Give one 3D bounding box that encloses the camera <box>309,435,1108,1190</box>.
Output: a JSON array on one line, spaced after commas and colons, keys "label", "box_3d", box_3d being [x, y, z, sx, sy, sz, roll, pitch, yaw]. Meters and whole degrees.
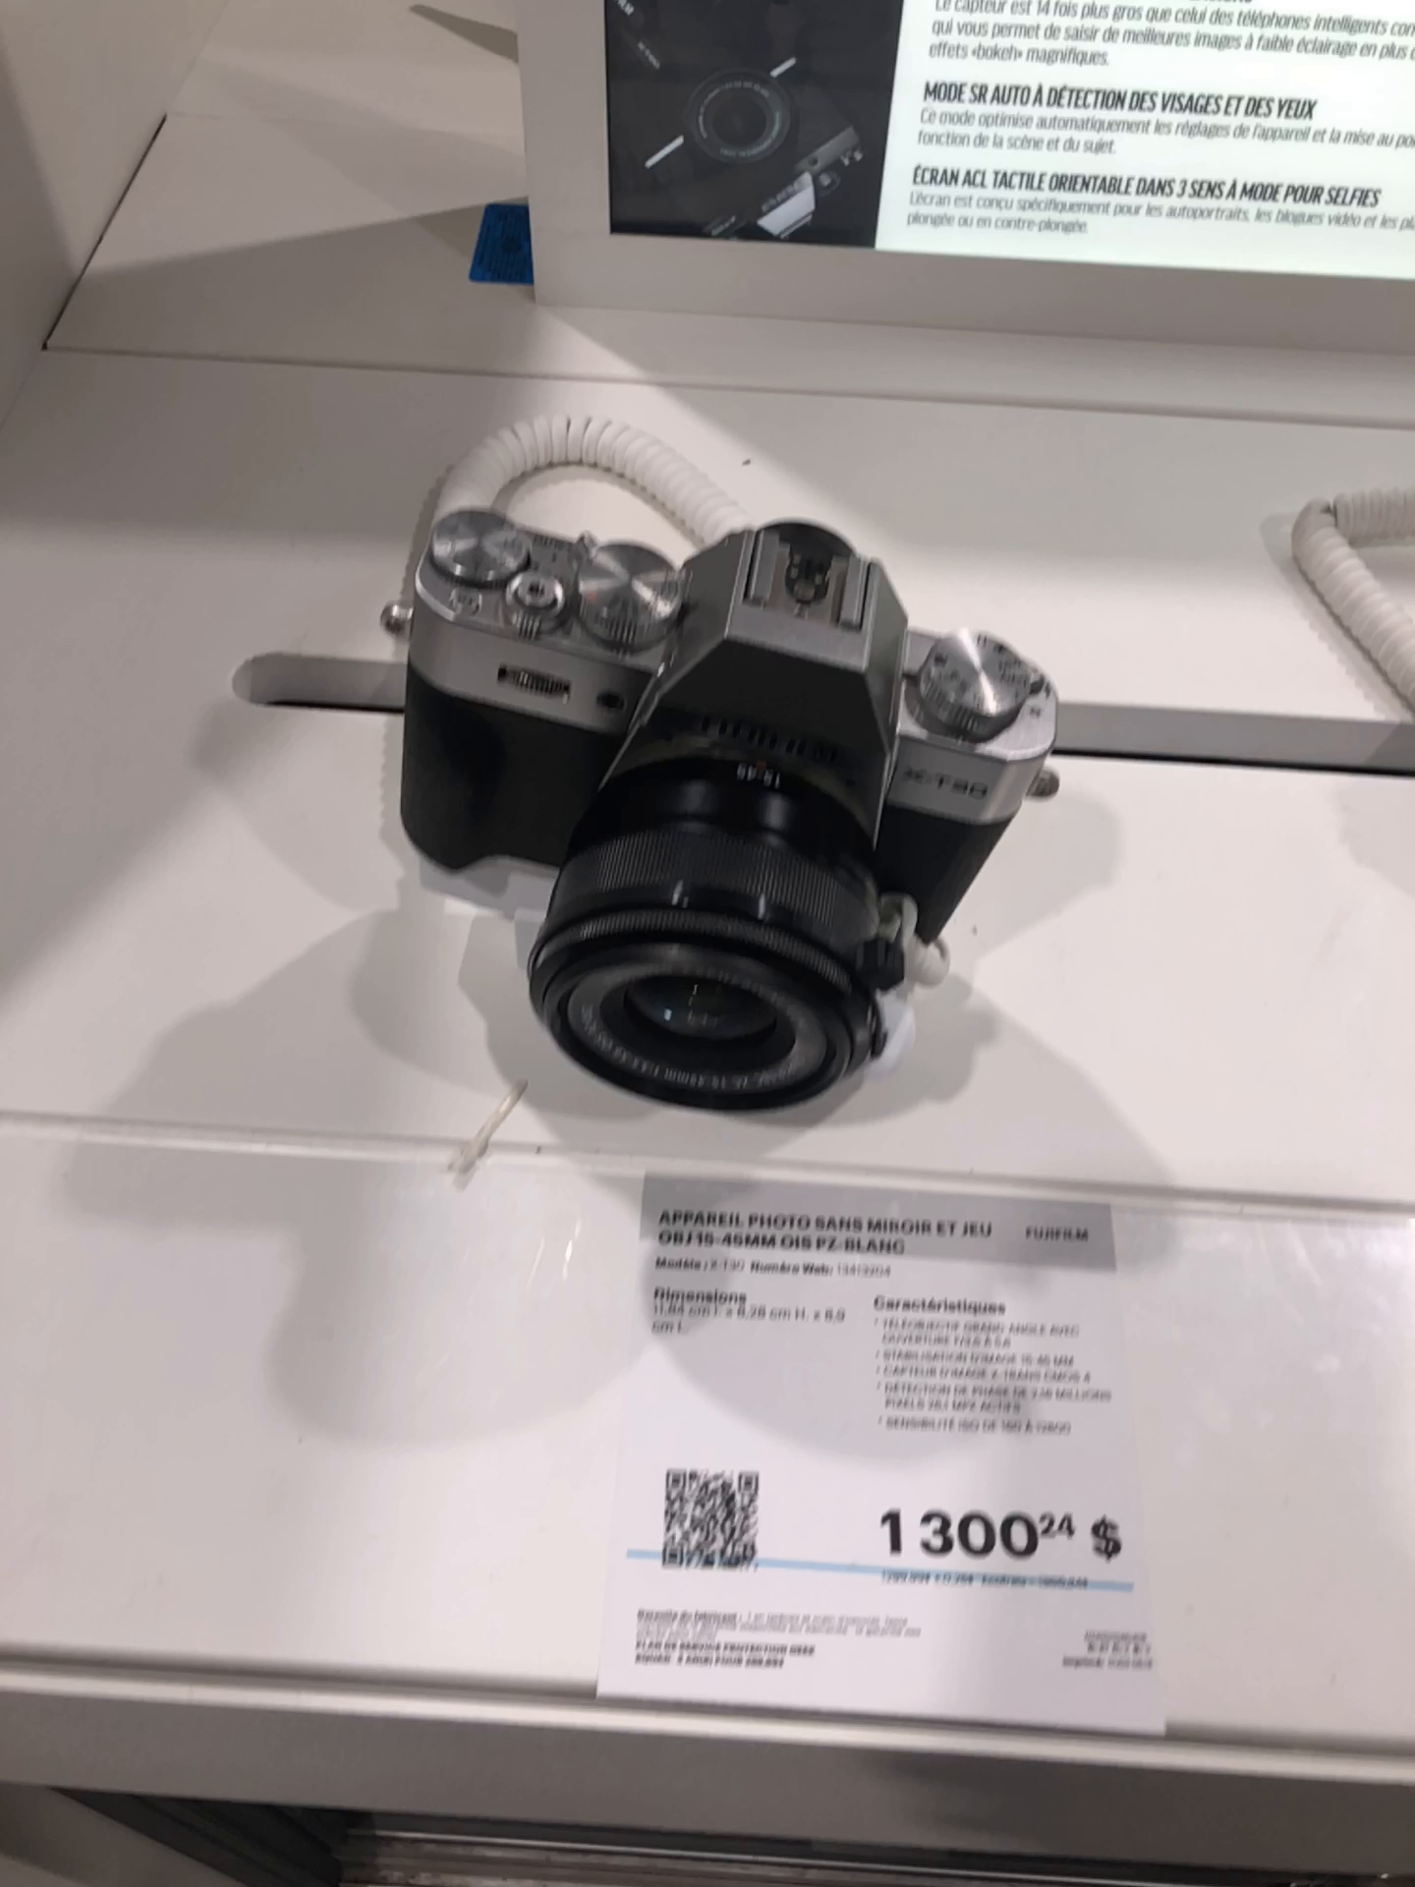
[{"label": "camera", "box_3d": [0.001, -0.024, 0.316, 0.130, 0.089, 0.091, 12, 54, 0]}]
